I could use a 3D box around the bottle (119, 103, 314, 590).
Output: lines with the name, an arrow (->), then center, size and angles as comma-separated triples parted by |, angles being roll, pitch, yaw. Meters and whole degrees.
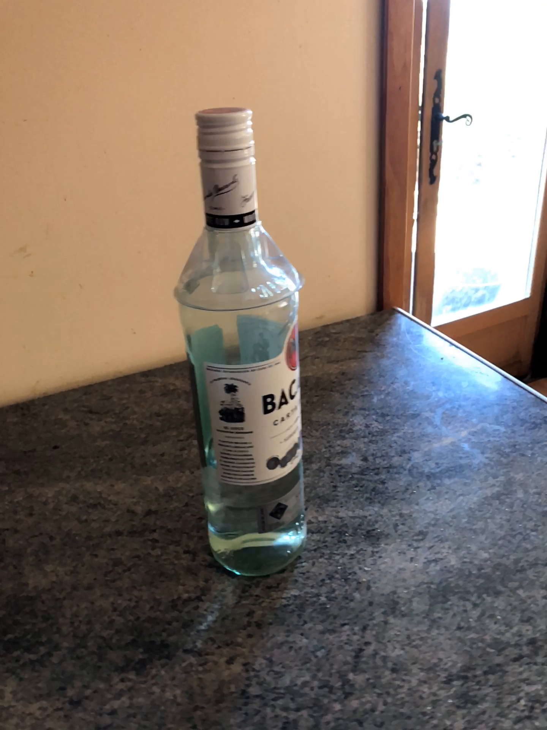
bottle -> -0.021, 0.001, 0.383 | 0.080, 0.298, 0.080 | -3, 26, 1
